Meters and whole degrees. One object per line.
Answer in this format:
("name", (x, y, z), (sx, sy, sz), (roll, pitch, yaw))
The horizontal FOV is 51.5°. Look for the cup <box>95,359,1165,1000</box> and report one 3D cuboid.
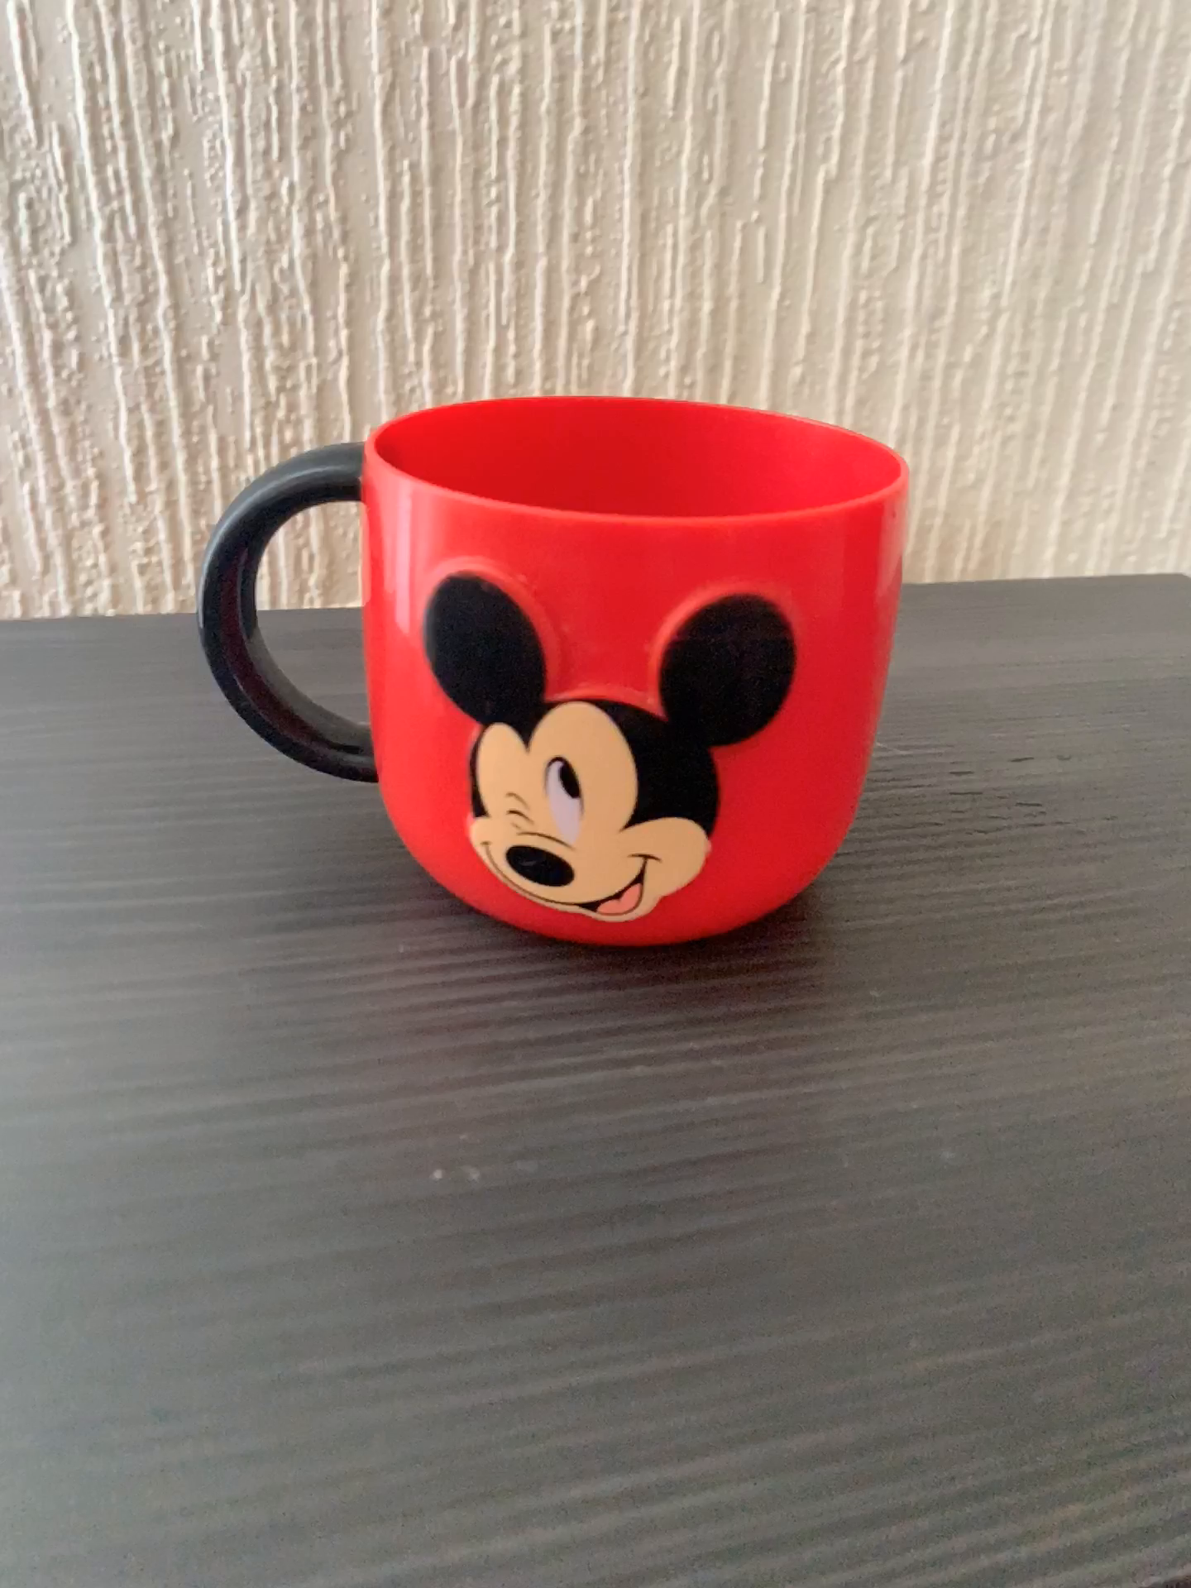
("cup", (0.003, -0.027, 0.210), (0.130, 0.069, 0.101), (3, 27, -1))
